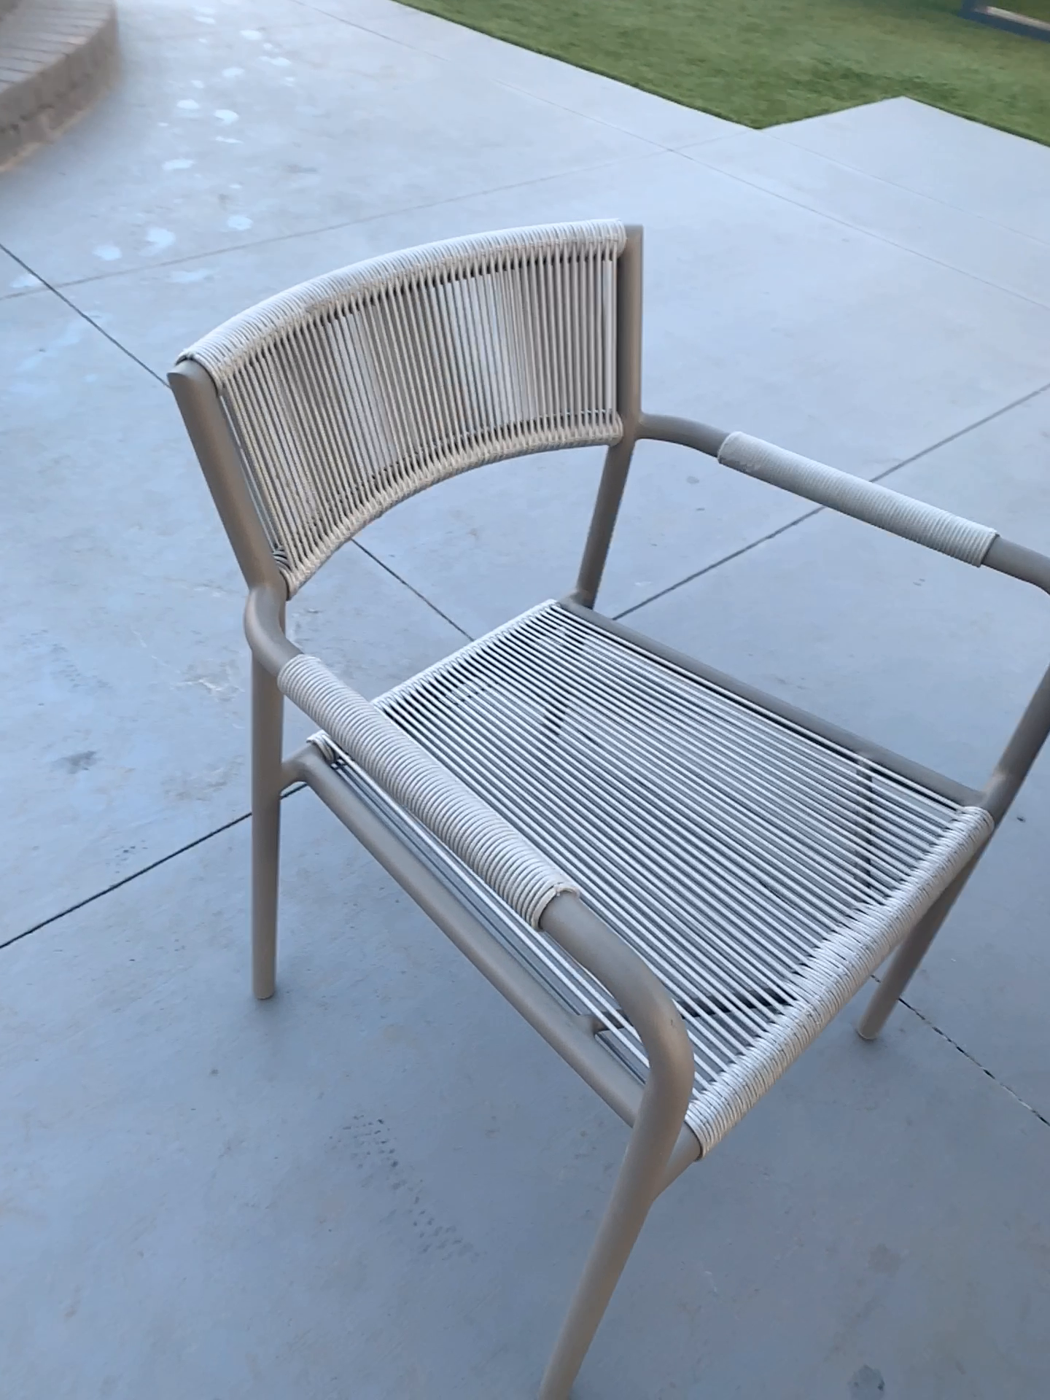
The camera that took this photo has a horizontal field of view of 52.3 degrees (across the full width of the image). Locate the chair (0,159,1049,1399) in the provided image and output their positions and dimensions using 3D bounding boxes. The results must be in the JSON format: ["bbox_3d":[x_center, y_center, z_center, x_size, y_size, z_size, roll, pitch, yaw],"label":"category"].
[{"bbox_3d":[0.080,0.058,0.980,0.601,0.767,0.672,35,50,27],"label":"chair"}]
